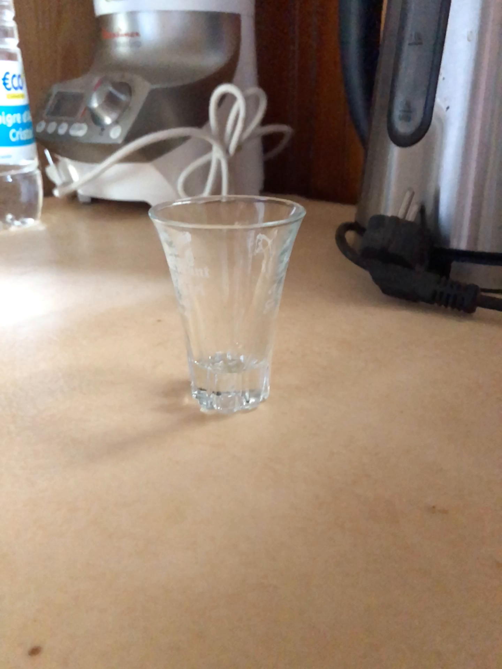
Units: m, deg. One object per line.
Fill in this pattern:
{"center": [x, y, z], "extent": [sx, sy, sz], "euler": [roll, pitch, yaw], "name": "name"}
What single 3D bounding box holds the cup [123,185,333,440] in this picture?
{"center": [-0.008, -0.012, 0.201], "extent": [0.050, 0.070, 0.050], "euler": [-1, 24, 0], "name": "cup"}
